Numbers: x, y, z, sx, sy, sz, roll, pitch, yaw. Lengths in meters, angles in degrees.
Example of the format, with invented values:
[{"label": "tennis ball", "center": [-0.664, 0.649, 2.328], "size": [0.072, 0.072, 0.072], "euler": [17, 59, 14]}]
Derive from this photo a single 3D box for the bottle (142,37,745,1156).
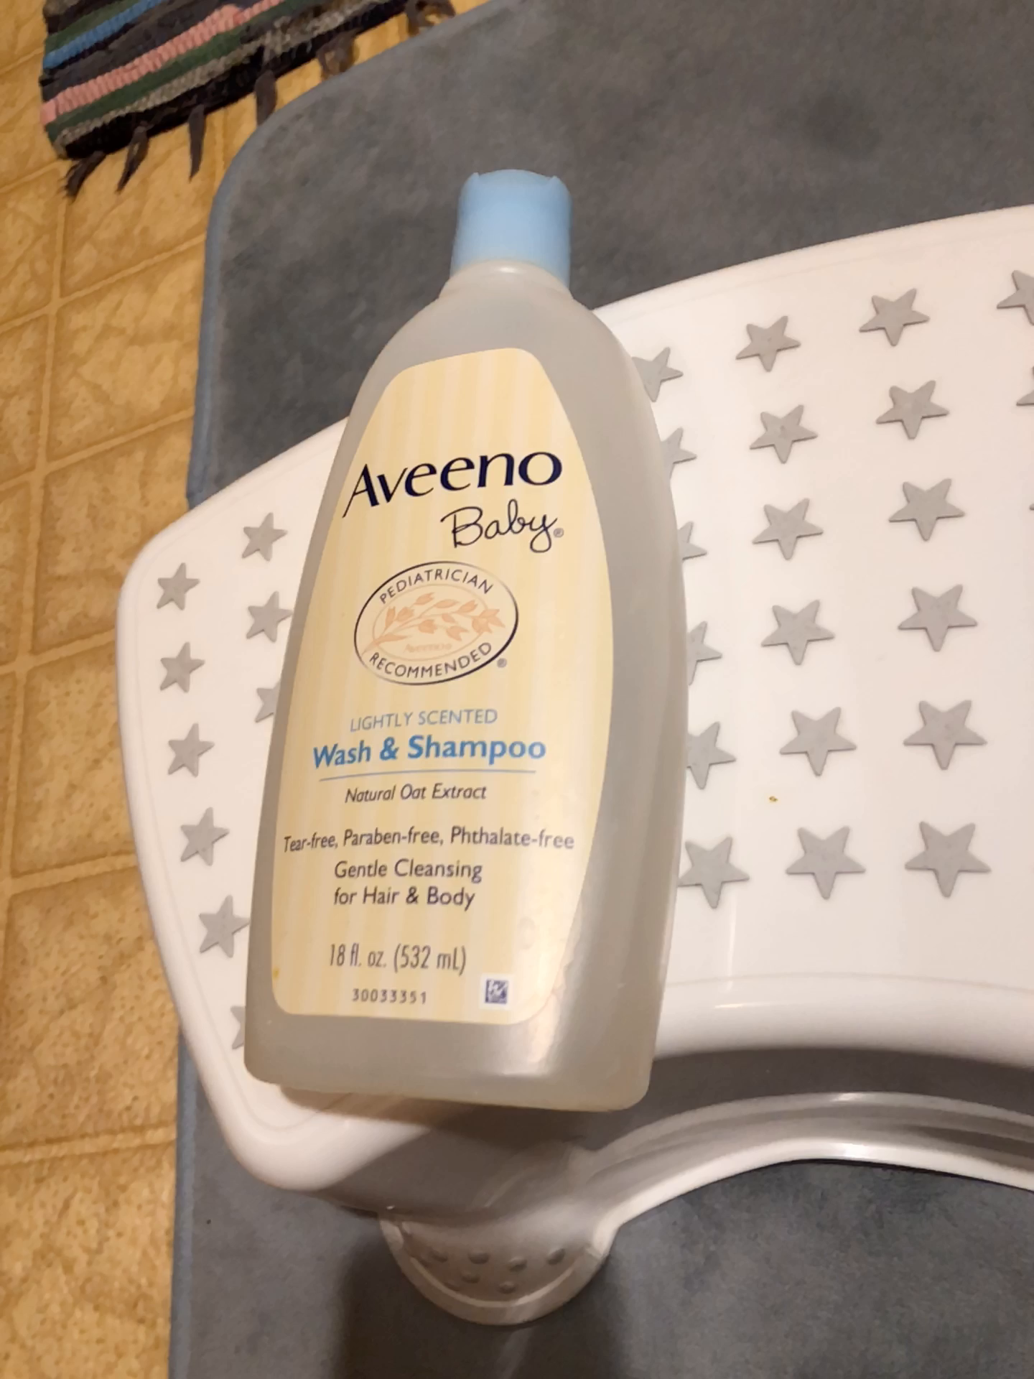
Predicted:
[{"label": "bottle", "center": [-0.006, -0.029, 0.259], "size": [0.100, 0.040, 0.240], "euler": [-4, 67, 23]}]
